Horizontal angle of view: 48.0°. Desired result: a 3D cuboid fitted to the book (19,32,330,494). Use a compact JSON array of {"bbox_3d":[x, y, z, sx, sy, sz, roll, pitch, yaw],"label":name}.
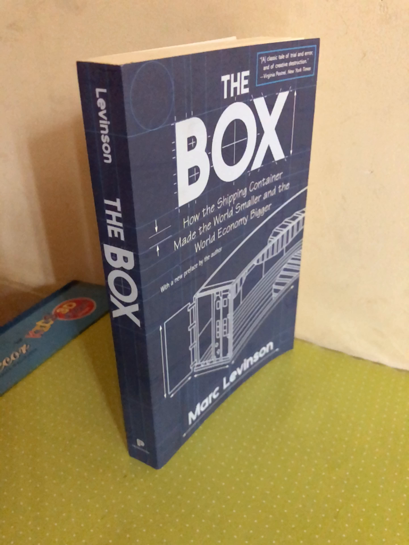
[{"bbox_3d":[0.003,-0.018,0.276,0.050,0.219,0.181,18,34,30],"label":"book"}]
